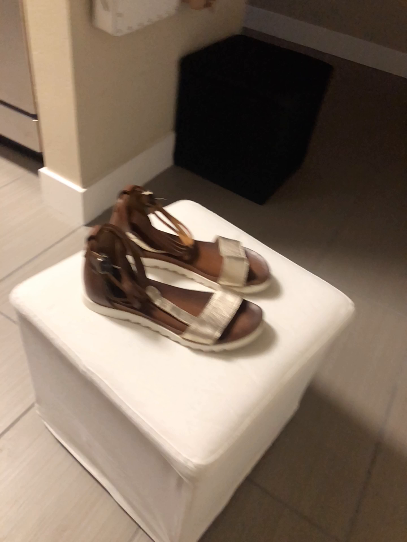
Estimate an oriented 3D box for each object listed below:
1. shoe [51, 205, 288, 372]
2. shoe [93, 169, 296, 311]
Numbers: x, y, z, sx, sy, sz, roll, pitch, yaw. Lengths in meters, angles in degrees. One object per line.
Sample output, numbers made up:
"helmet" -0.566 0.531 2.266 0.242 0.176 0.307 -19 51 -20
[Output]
"shoe" -0.039 0.018 0.565 0.260 0.090 0.110 17 44 6
"shoe" -0.012 -0.048 0.648 0.260 0.090 0.110 17 44 6
